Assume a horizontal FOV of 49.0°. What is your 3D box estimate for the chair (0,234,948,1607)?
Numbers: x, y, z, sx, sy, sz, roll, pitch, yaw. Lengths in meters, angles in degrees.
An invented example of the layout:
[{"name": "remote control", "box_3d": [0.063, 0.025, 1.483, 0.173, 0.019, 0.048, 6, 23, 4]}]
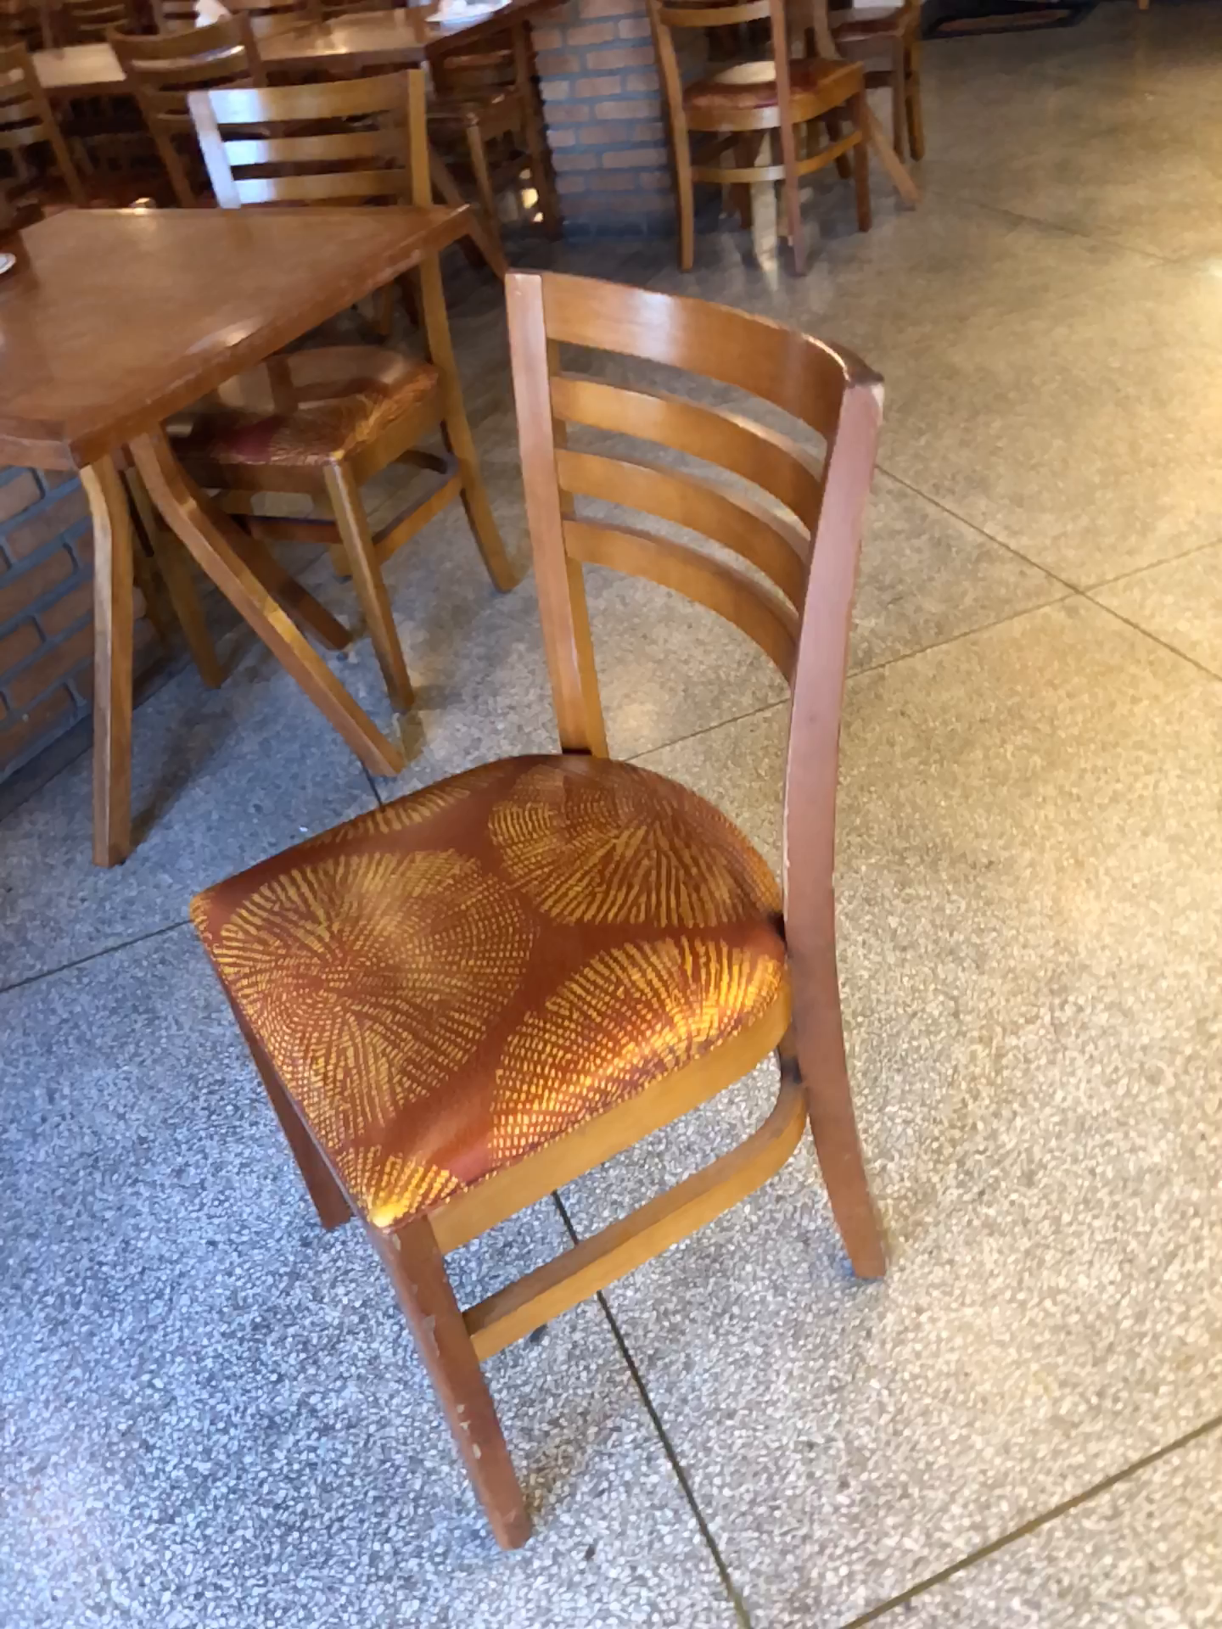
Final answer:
[{"name": "chair", "box_3d": [-0.075, 0.082, 1.047, 0.471, 0.844, 0.452, -27, 39, -21]}]
